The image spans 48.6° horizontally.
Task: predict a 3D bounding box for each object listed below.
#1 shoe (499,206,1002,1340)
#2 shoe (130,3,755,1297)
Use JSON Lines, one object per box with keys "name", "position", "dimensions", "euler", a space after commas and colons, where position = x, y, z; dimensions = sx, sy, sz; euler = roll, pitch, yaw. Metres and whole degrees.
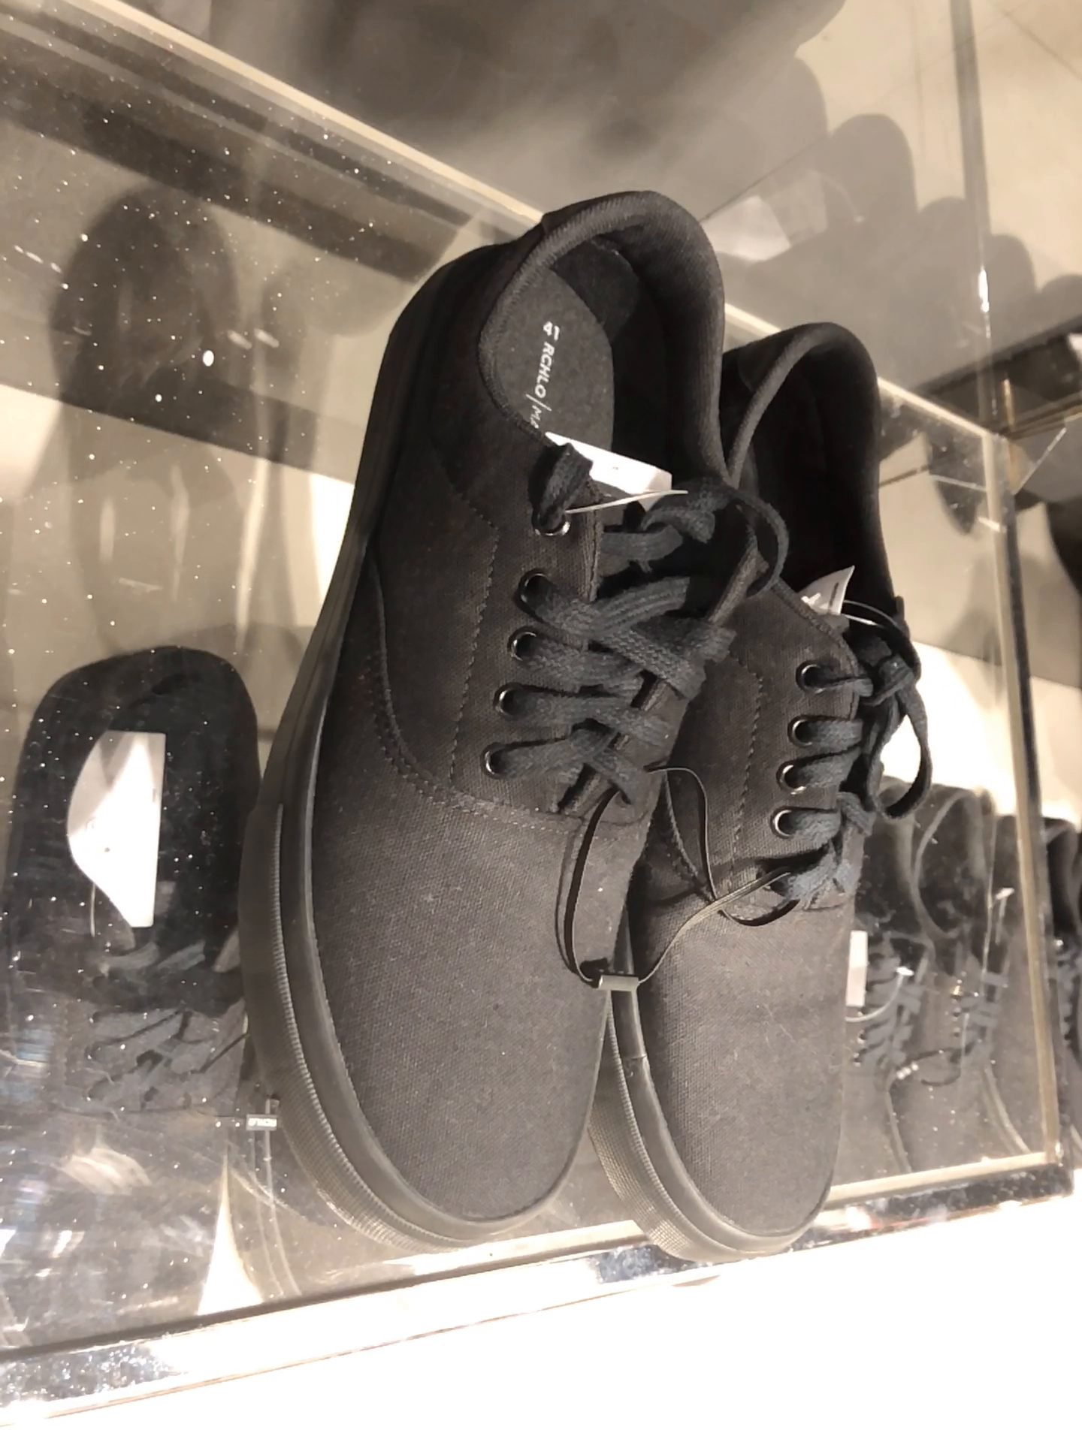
{"name": "shoe", "position": [0.065, 0.015, 0.409], "dimensions": [0.111, 0.109, 0.320], "euler": [10, 74, -37]}
{"name": "shoe", "position": [-0.020, -0.019, 0.354], "dimensions": [0.110, 0.109, 0.320], "euler": [16, 71, -36]}
